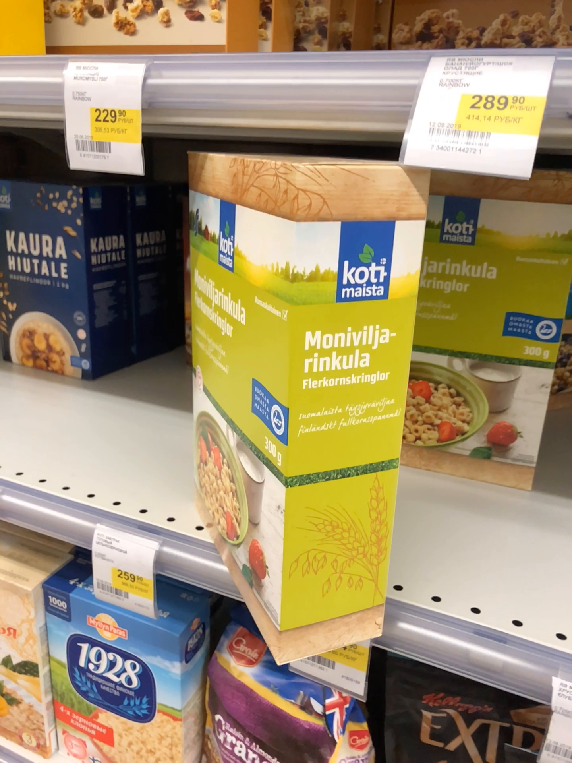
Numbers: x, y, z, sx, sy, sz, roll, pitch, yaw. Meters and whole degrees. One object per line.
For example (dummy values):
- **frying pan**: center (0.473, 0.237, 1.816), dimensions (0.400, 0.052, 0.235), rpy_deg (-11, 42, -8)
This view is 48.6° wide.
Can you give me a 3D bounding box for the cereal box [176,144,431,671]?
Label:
- **cereal box**: center (-0.011, -0.005, 0.386), dimensions (0.070, 0.259, 0.191), rpy_deg (-5, 21, -21)
